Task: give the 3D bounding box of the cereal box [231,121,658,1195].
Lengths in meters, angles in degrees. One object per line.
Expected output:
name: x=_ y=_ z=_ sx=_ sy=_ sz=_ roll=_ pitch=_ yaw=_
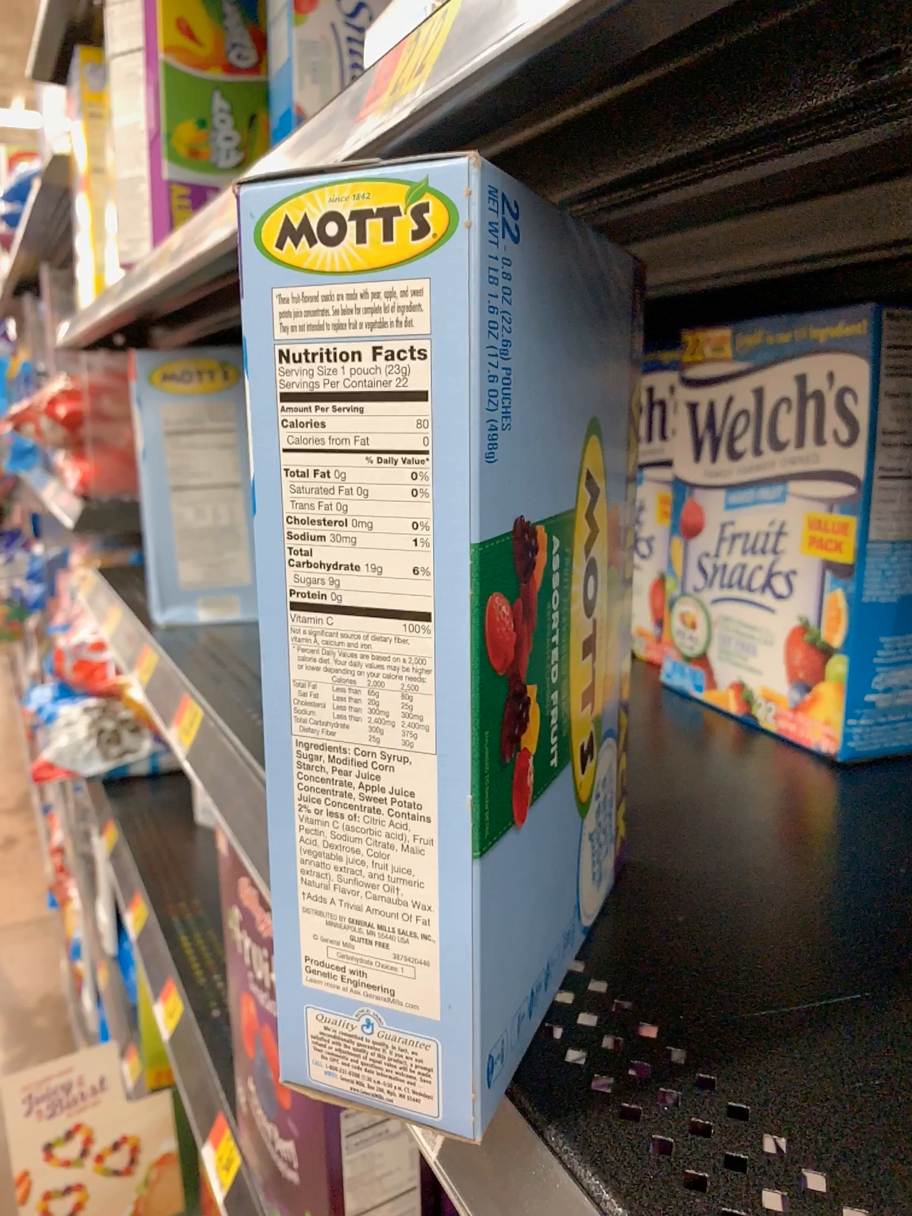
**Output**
cereal box: x=0.014 y=0.004 z=0.299 sx=0.060 sy=0.239 sz=0.180 roll=4 pitch=13 yaw=21
